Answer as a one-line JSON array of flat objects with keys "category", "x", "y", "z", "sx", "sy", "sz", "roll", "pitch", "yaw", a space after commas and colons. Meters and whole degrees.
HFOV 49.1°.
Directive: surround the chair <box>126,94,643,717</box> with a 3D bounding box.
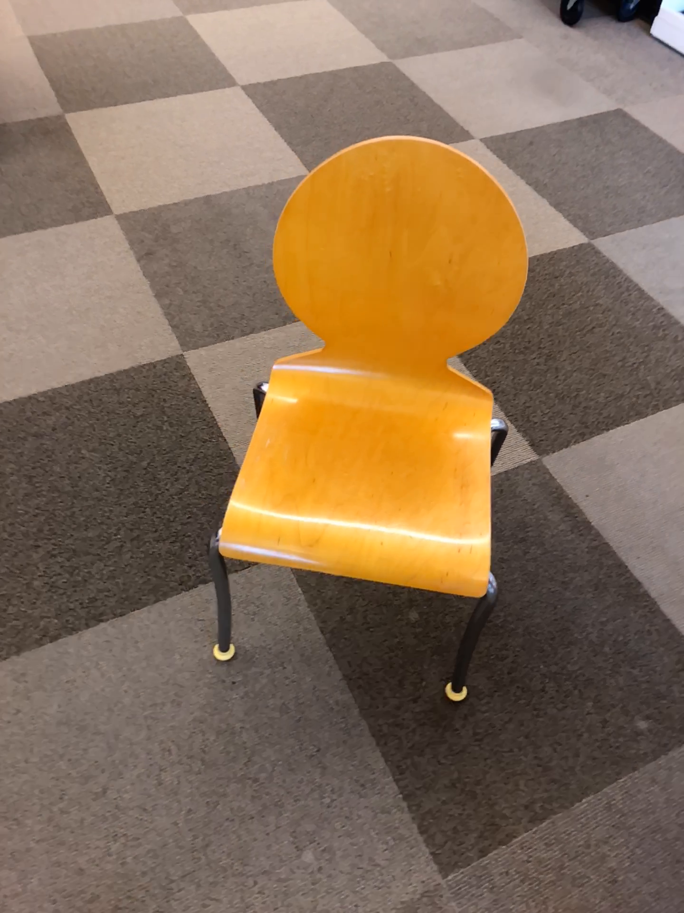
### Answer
[{"category": "chair", "x": 0.050, "y": -0.027, "z": 1.092, "sx": 0.465, "sy": 0.723, "sz": 0.472, "roll": 10, "pitch": 50, "yaw": 3}]
